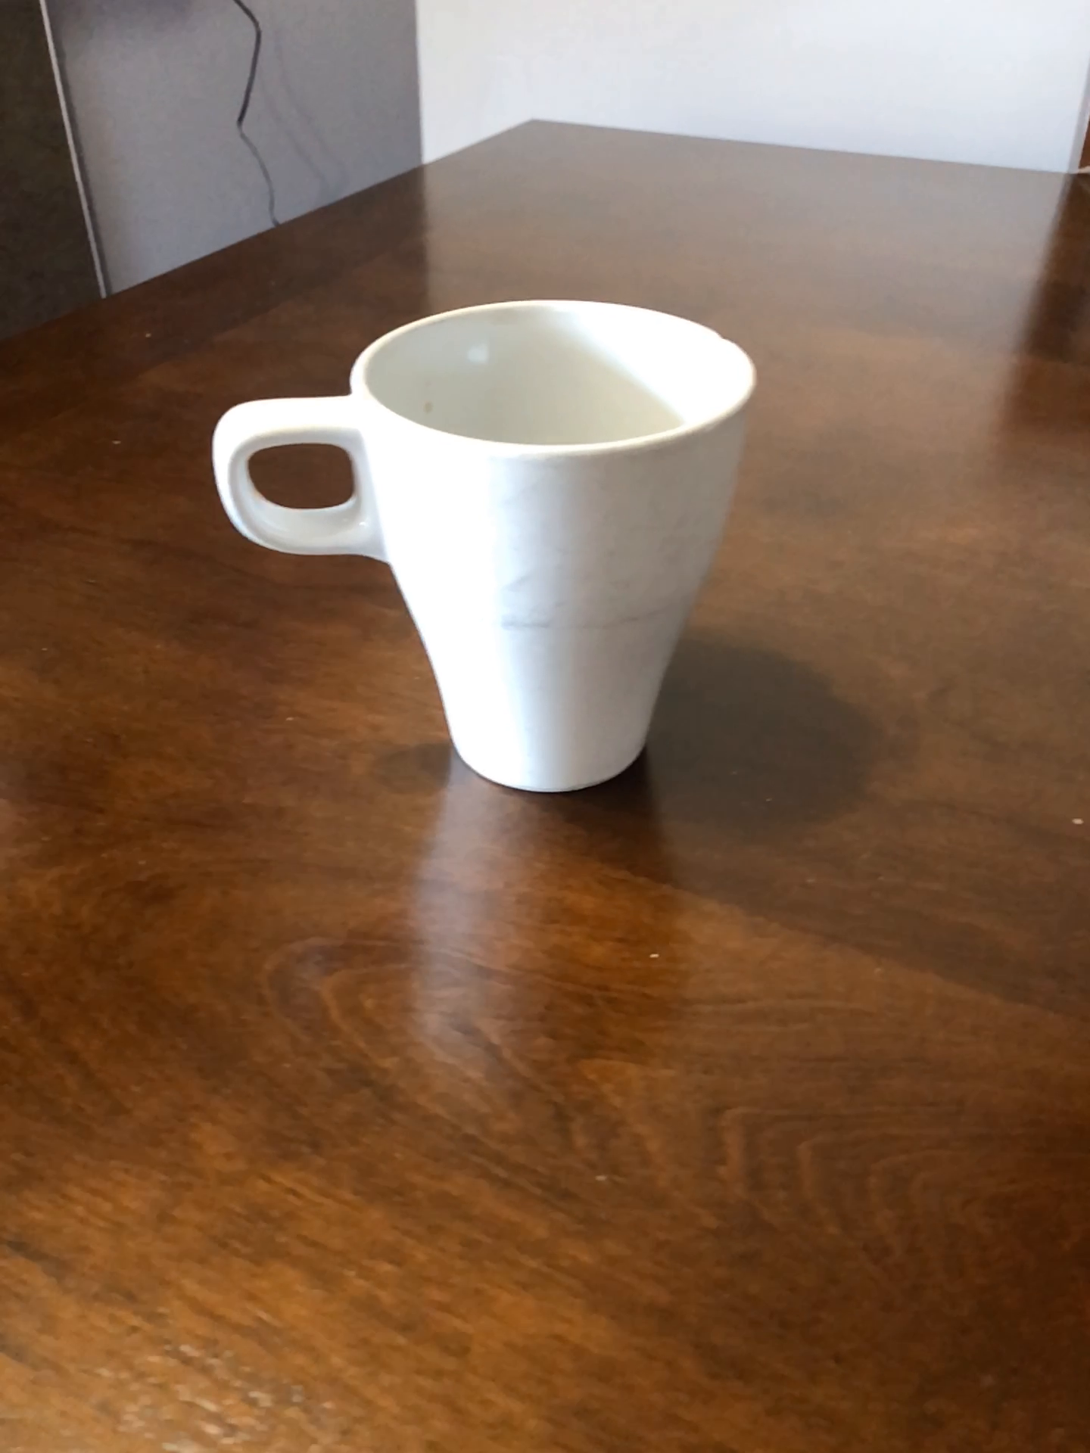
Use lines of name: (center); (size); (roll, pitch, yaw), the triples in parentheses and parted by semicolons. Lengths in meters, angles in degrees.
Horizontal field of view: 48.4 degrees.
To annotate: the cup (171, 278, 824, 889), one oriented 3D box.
cup: (-0.014, -0.038, 0.285); (0.120, 0.100, 0.080); (-11, 38, -15)
